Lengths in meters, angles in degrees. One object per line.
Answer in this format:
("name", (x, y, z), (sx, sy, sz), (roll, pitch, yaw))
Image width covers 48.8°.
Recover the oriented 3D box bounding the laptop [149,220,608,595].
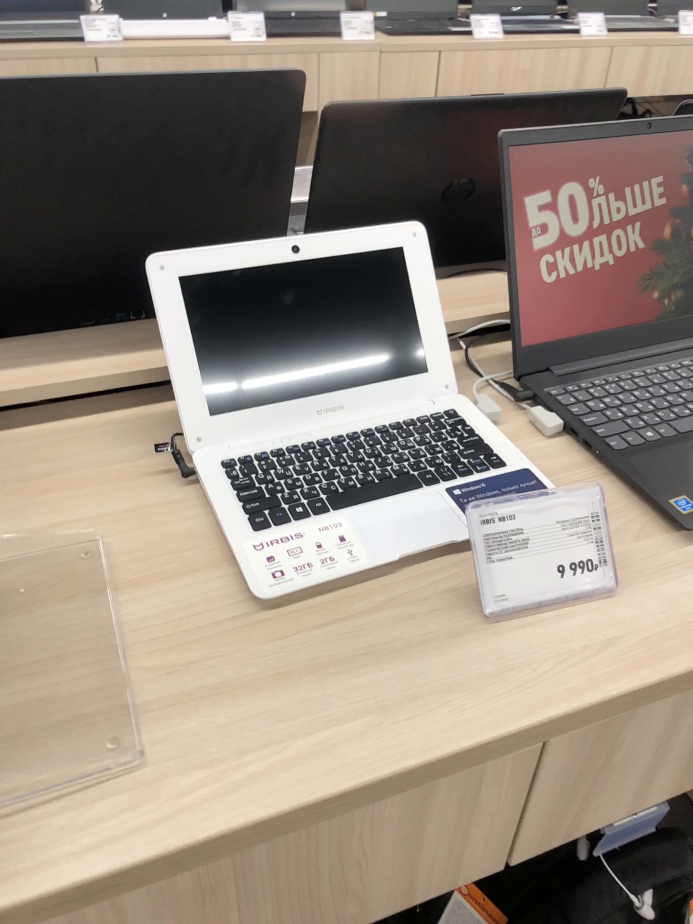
("laptop", (0.007, -0.080, 0.711), (0.296, 0.144, 0.319), (-13, 41, -20))
